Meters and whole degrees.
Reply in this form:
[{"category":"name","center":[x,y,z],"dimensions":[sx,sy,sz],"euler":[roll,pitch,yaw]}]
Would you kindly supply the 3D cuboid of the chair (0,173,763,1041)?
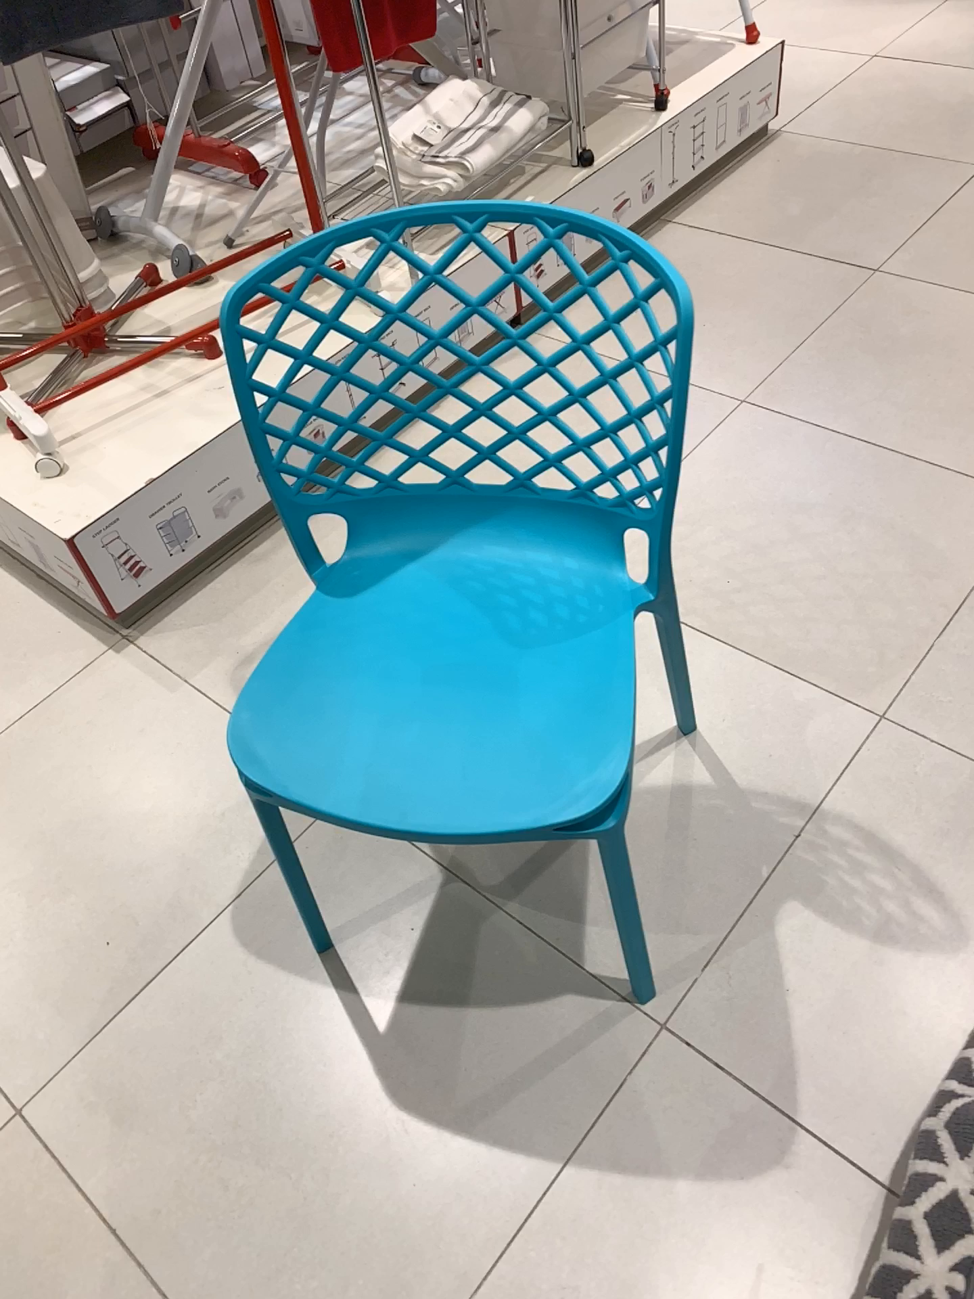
[{"category":"chair","center":[-0.014,-0.011,1.127],"dimensions":[0.561,0.797,0.521],"euler":[4,49,13]}]
